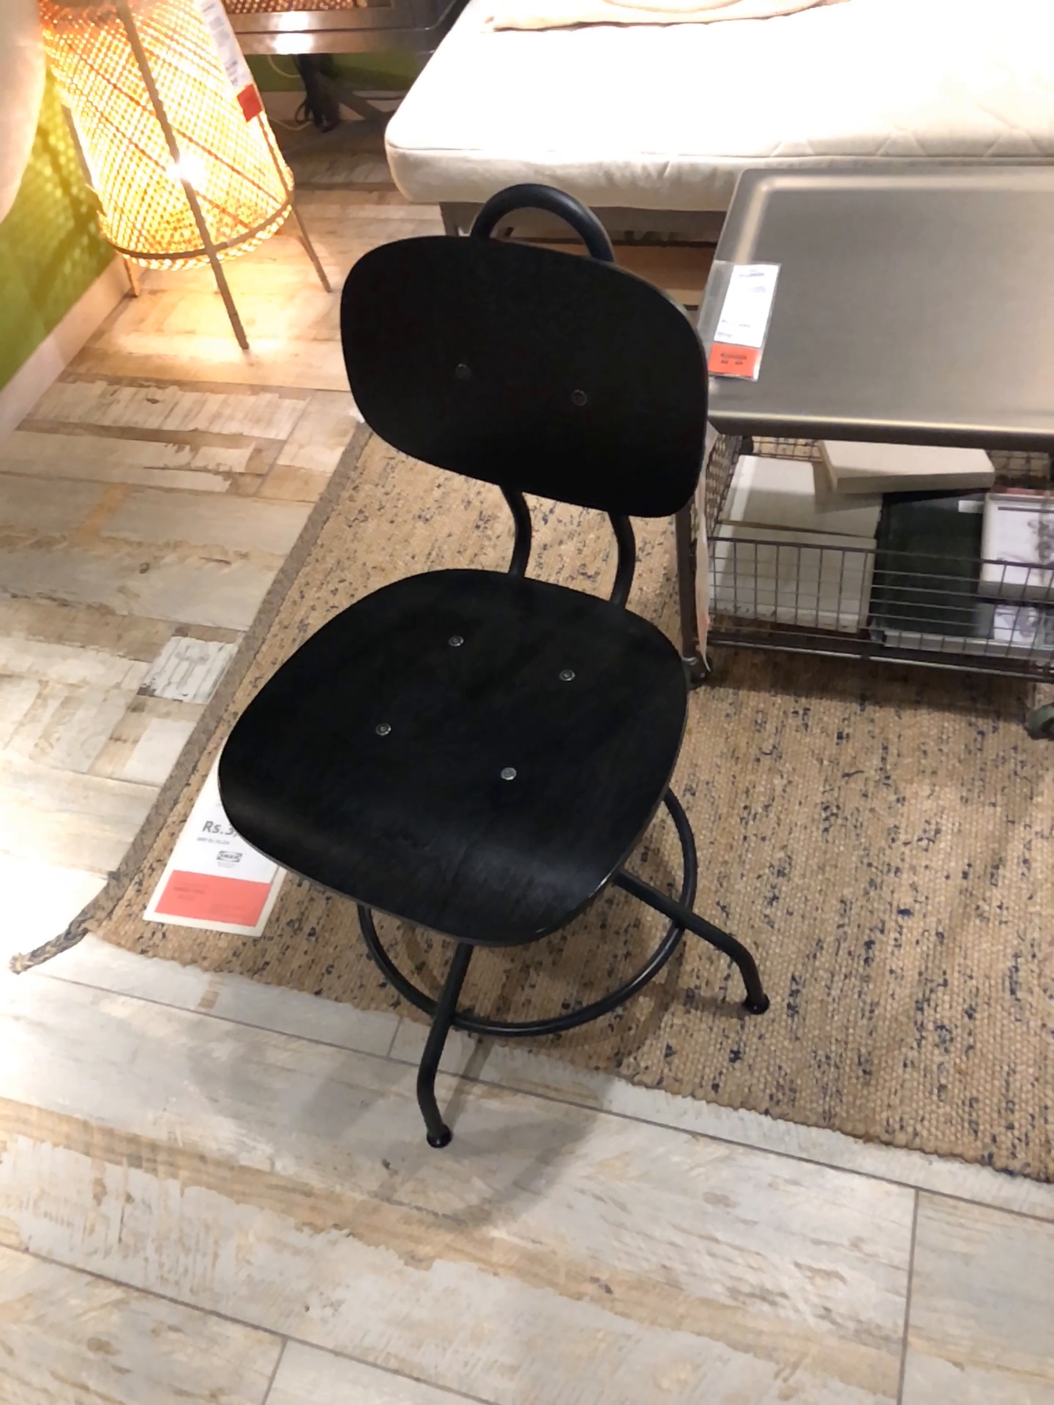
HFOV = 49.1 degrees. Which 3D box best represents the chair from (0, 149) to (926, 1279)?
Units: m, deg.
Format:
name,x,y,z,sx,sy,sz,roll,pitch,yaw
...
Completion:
name,x,y,z,sx,sy,sz,roll,pitch,yaw
chair,-0.043,0.028,1.072,0.591,0.765,0.582,16,58,23
